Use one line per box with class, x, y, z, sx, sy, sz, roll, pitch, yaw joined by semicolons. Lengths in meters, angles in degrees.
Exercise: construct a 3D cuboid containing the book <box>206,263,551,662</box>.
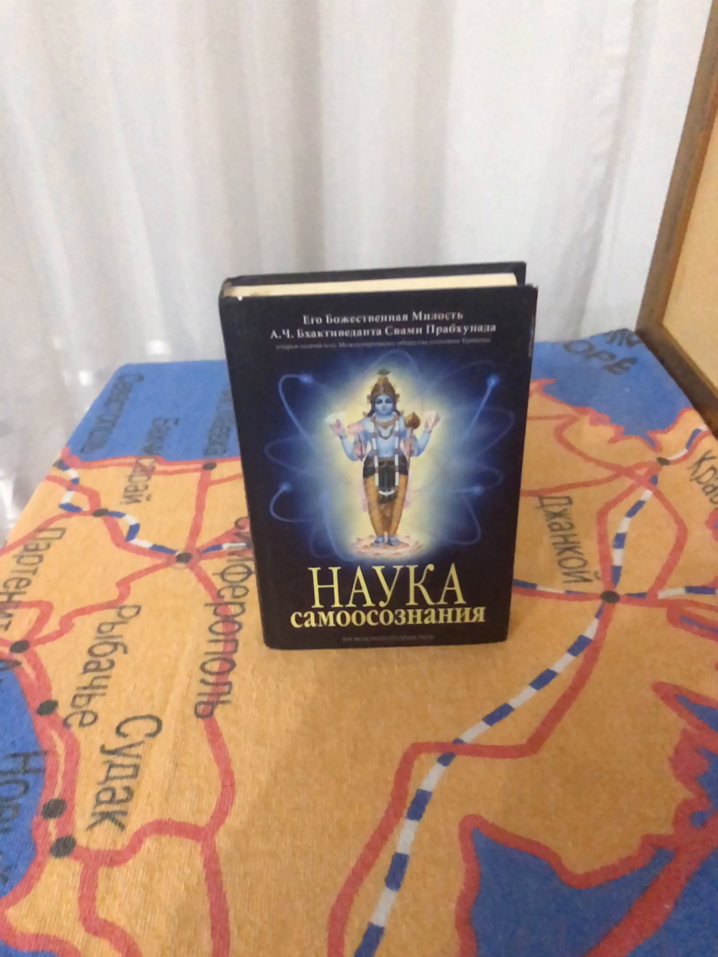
book;0.011;0.003;0.389;0.140;0.205;0.030;-2;32;0
